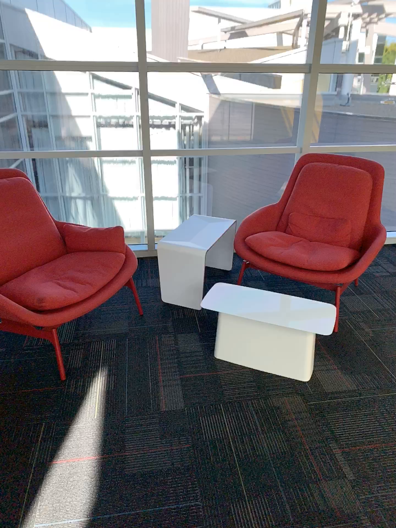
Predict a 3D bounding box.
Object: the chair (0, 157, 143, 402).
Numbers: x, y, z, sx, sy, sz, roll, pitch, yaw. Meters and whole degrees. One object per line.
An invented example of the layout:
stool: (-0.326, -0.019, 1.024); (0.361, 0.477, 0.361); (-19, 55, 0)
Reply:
chair: (-0.945, 0.005, 2.451); (0.822, 1.054, 0.873); (13, 28, 24)

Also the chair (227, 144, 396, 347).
chair: (0.811, -0.215, 2.809); (0.872, 0.994, 0.923); (14, 29, 26)
